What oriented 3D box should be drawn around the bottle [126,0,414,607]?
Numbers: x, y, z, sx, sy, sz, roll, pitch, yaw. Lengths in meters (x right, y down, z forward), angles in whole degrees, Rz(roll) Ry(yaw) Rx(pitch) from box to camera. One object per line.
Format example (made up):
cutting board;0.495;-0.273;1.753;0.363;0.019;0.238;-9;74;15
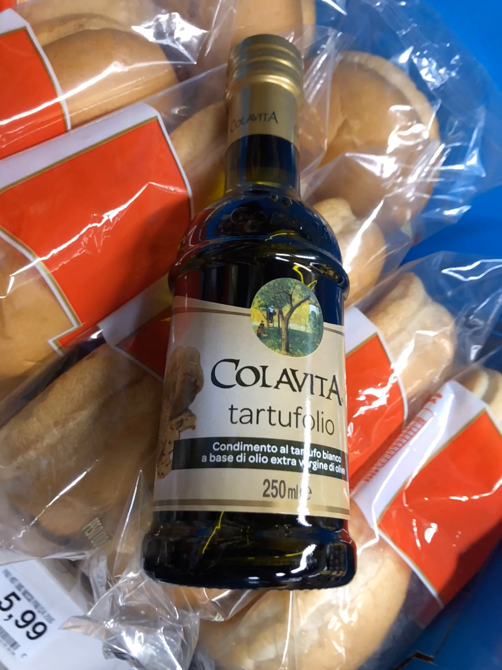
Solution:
bottle;0.005;-0.026;0.198;0.070;0.060;0.210;7;73;-17
